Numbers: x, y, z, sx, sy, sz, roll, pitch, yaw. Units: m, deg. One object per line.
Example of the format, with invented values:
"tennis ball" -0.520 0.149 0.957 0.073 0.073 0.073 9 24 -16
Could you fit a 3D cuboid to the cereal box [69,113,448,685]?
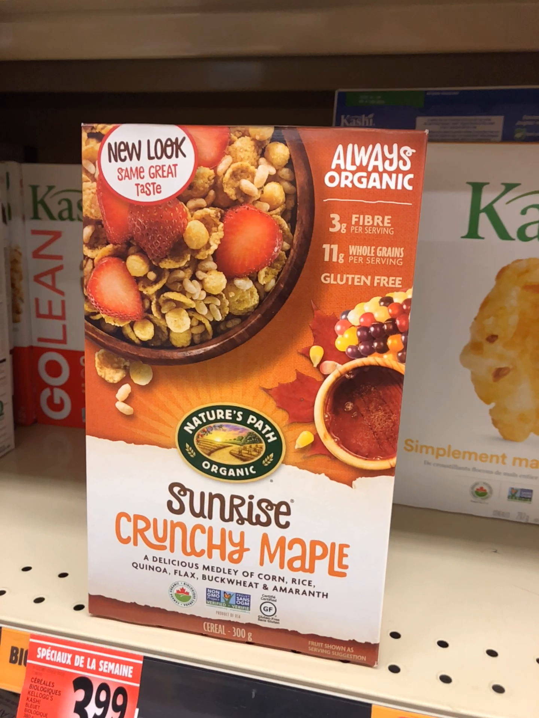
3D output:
"cereal box" -0.009 0.018 0.317 0.170 0.269 0.060 5 12 12
